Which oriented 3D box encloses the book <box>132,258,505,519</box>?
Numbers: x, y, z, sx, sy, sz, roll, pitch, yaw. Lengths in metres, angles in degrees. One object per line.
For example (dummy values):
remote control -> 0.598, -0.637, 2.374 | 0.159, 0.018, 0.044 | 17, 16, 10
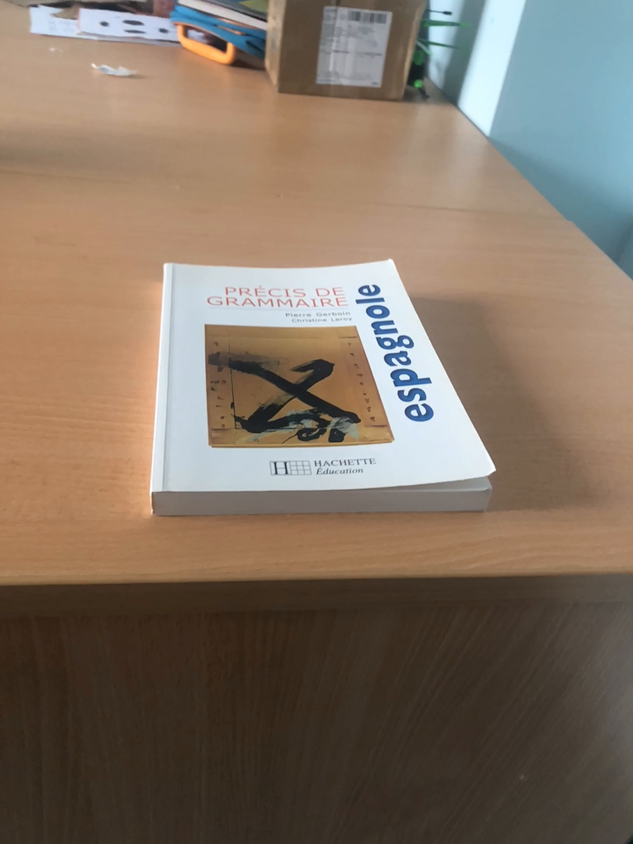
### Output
book -> -0.013, -0.038, 0.432 | 0.180, 0.020, 0.241 | -1, 38, -10
